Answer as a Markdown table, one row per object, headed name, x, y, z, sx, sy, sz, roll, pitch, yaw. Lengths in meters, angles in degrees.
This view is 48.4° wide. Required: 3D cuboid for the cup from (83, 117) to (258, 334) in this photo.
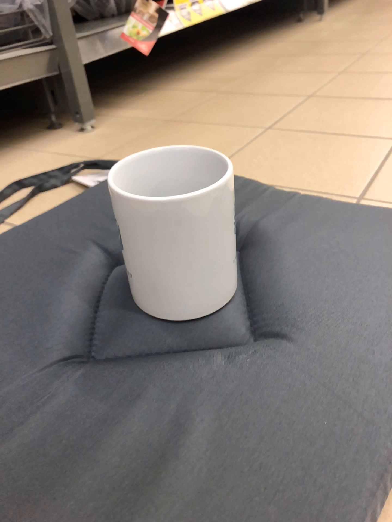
| name | x | y | z | sx | sy | sz | roll | pitch | yaw |
| --- | --- | --- | --- | --- | --- | --- | --- | --- | --- |
| cup | -0.015 | -0.033 | 0.308 | 0.090 | 0.089 | 0.131 | -8 | 34 | -1 |
